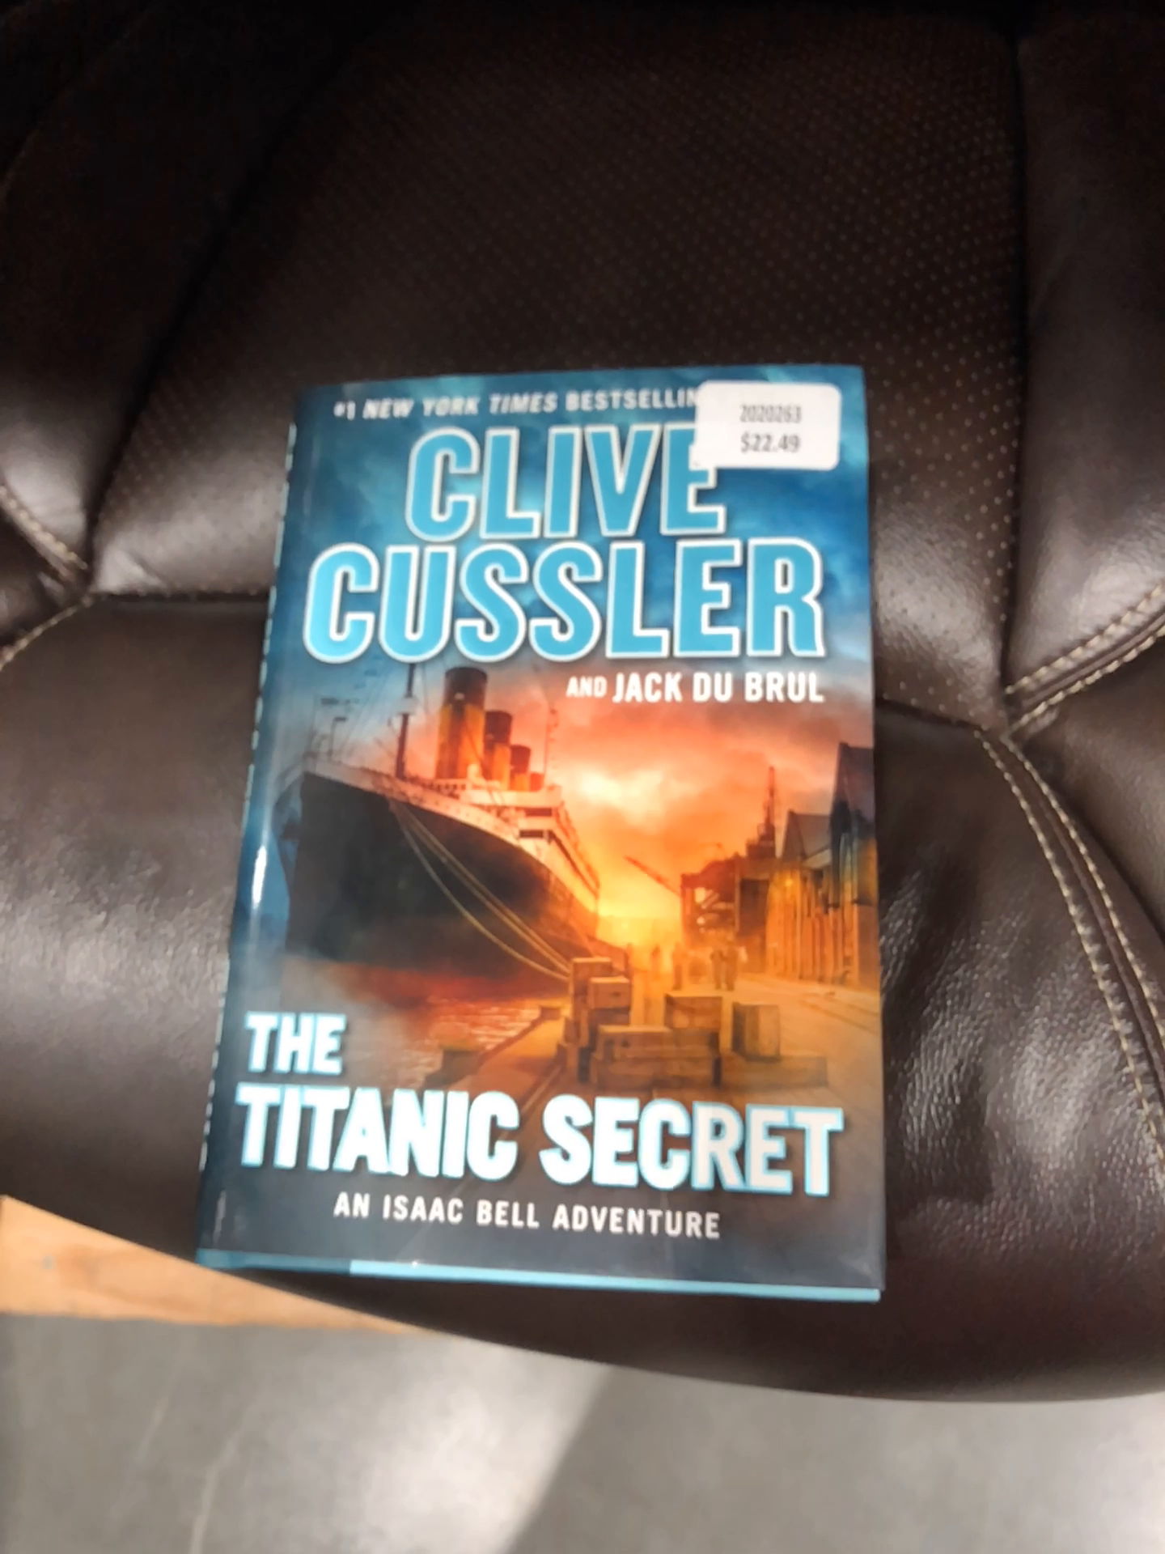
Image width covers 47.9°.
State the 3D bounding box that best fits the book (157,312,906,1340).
[{"bbox_3d":[-0.006,0.003,0.339,0.165,0.040,0.249,0,73,9],"label":"book"}]
